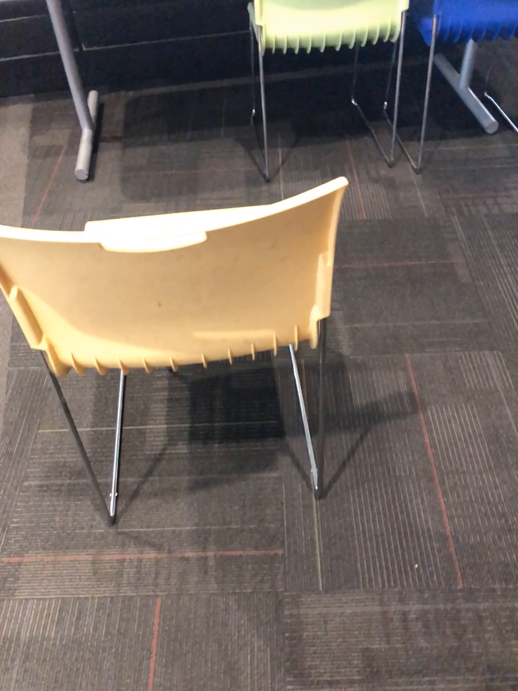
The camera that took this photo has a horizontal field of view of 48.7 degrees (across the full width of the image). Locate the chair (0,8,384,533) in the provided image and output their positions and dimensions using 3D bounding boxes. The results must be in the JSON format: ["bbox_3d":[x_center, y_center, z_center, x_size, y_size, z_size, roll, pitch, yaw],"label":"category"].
[{"bbox_3d":[-0.154,-0.103,1.069,0.570,0.737,0.562,-5,48,-1],"label":"chair"}]
